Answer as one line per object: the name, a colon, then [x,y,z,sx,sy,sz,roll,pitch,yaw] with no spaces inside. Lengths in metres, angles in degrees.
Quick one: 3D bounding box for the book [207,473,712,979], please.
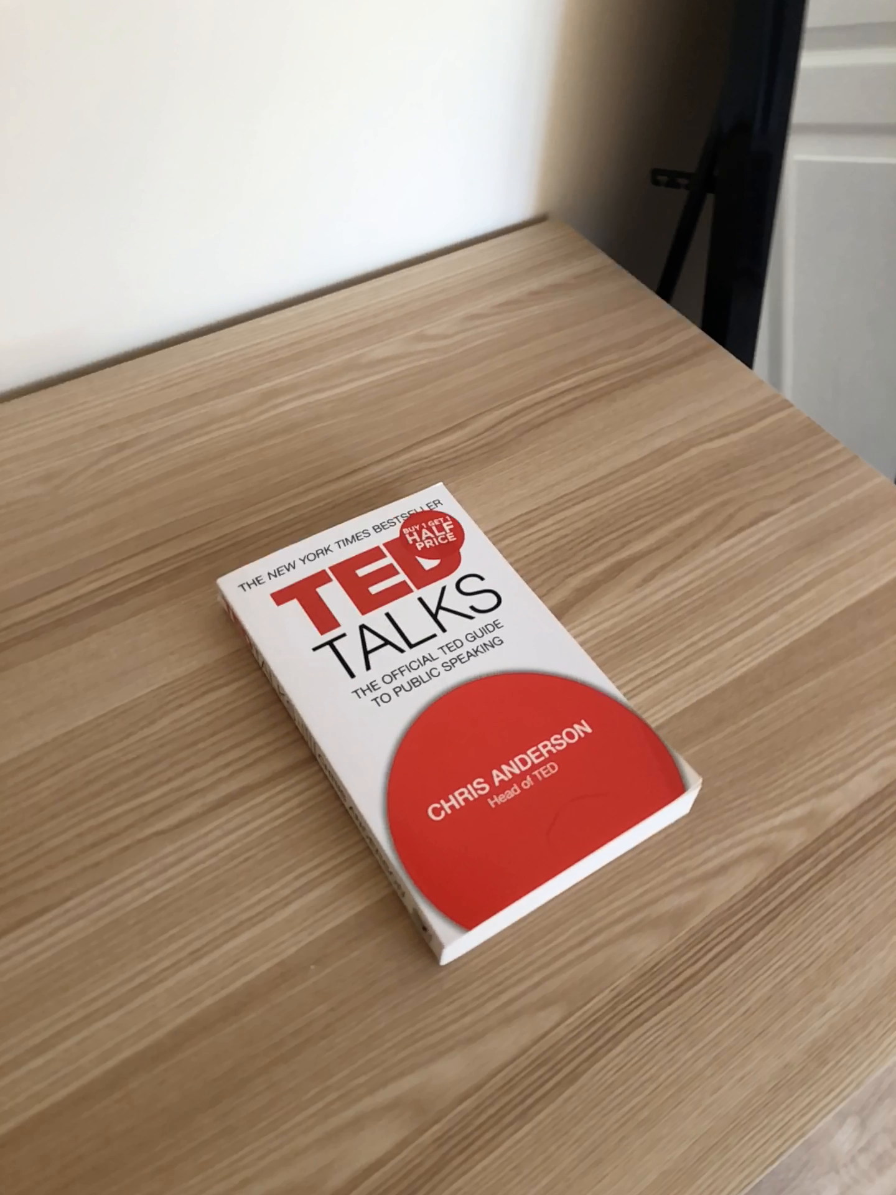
book: [-0.003,0.044,0.471,0.138,0.030,0.220,-25,58,-22]
